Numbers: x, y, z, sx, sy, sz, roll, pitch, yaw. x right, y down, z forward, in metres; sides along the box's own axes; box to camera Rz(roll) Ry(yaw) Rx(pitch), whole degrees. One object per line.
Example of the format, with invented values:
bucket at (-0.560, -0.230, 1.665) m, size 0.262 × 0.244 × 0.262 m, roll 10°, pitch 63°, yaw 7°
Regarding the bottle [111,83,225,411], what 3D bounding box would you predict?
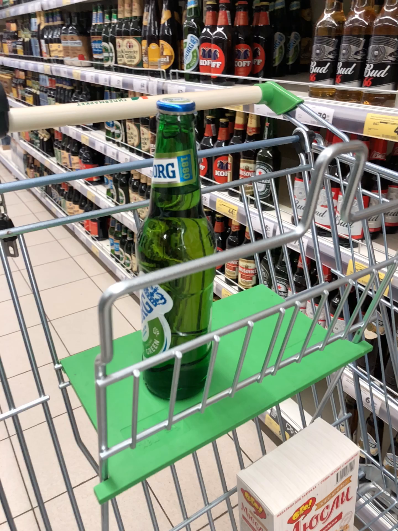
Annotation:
bottle at (-0.023, -0.007, 0.363) m, size 0.070 × 0.258 × 0.080 m, roll -4°, pitch 29°, yaw -7°
